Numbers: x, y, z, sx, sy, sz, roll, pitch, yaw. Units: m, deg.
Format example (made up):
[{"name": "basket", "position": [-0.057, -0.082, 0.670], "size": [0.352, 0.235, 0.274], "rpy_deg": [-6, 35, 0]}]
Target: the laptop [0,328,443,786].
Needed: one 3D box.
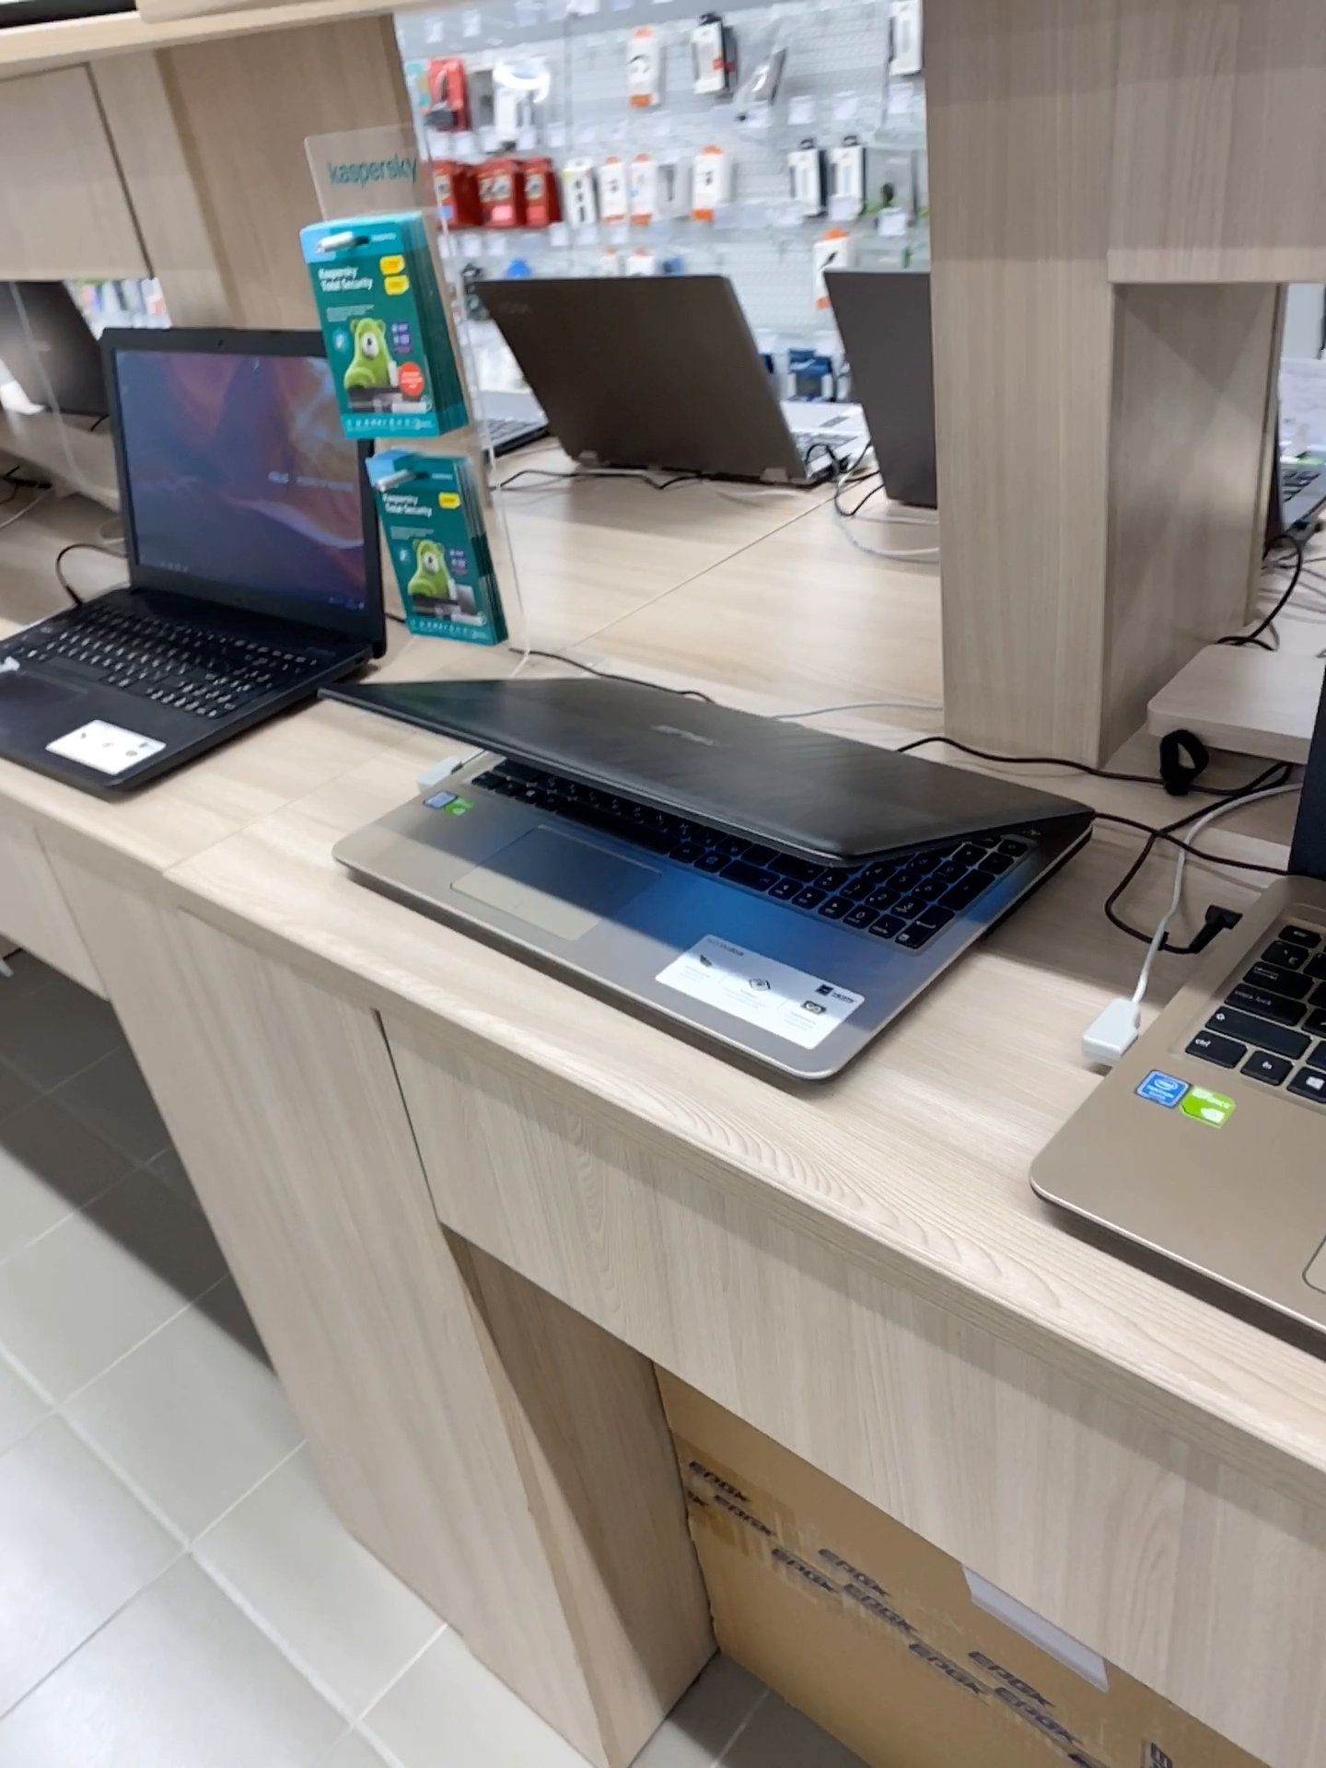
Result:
[{"name": "laptop", "position": [-0.464, -0.298, 1.122], "size": [0.422, 0.235, 0.318], "rpy_deg": [19, 42, 39]}]

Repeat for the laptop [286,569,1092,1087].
[{"name": "laptop", "position": [0.005, -0.063, 0.763], "size": [0.383, 0.094, 0.240], "rpy_deg": [21, 44, 39]}]
